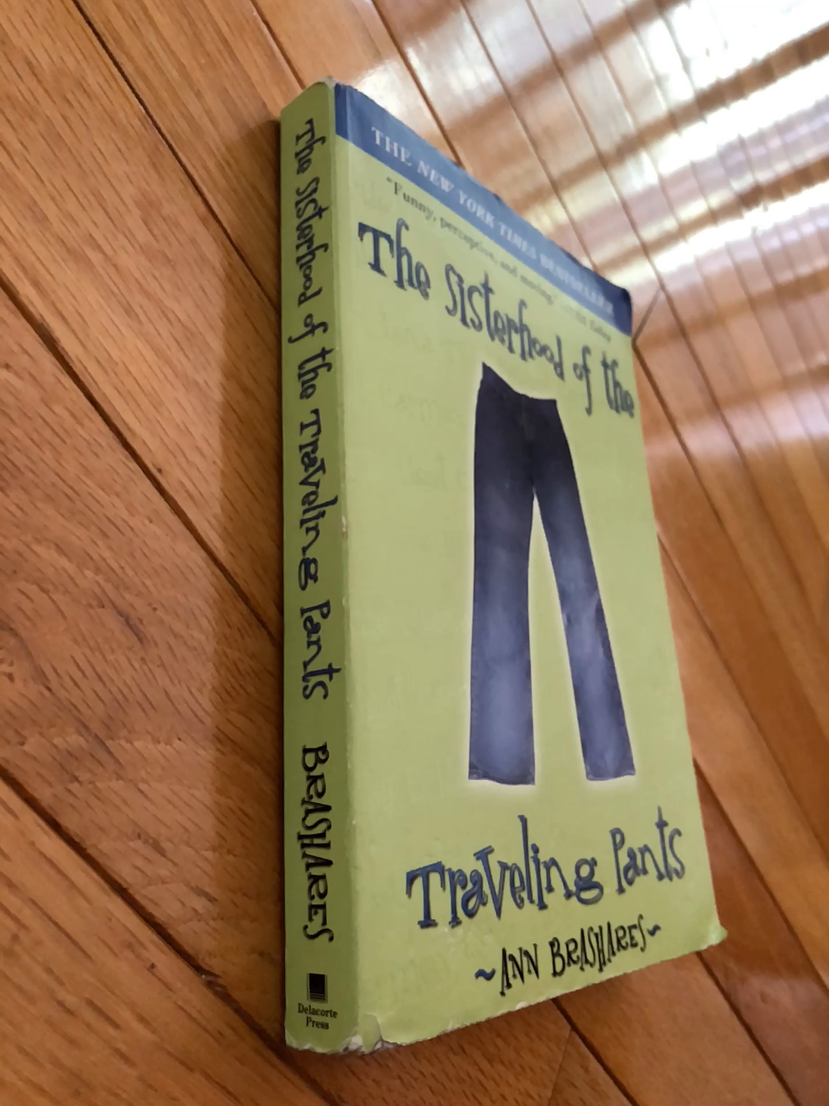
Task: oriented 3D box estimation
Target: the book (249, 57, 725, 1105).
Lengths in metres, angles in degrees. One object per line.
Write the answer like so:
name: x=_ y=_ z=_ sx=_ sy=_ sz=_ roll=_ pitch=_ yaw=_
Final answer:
book: x=0.023 y=0.004 z=0.239 sx=0.142 sy=0.025 sz=0.209 roll=14 pitch=65 yaw=-49
